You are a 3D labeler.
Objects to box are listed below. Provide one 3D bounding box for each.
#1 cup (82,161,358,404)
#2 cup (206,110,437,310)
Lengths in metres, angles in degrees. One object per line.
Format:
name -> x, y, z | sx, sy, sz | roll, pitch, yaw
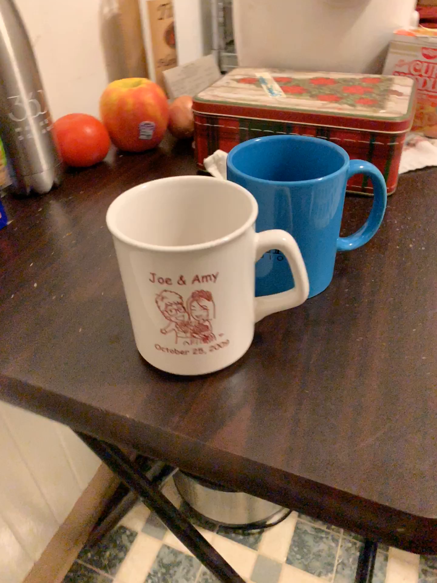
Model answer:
cup -> -0.002, -0.008, 0.276 | 0.130, 0.099, 0.091 | -7, 38, -5
cup -> 0.070, -0.063, 0.334 | 0.140, 0.099, 0.091 | -8, 38, -7
